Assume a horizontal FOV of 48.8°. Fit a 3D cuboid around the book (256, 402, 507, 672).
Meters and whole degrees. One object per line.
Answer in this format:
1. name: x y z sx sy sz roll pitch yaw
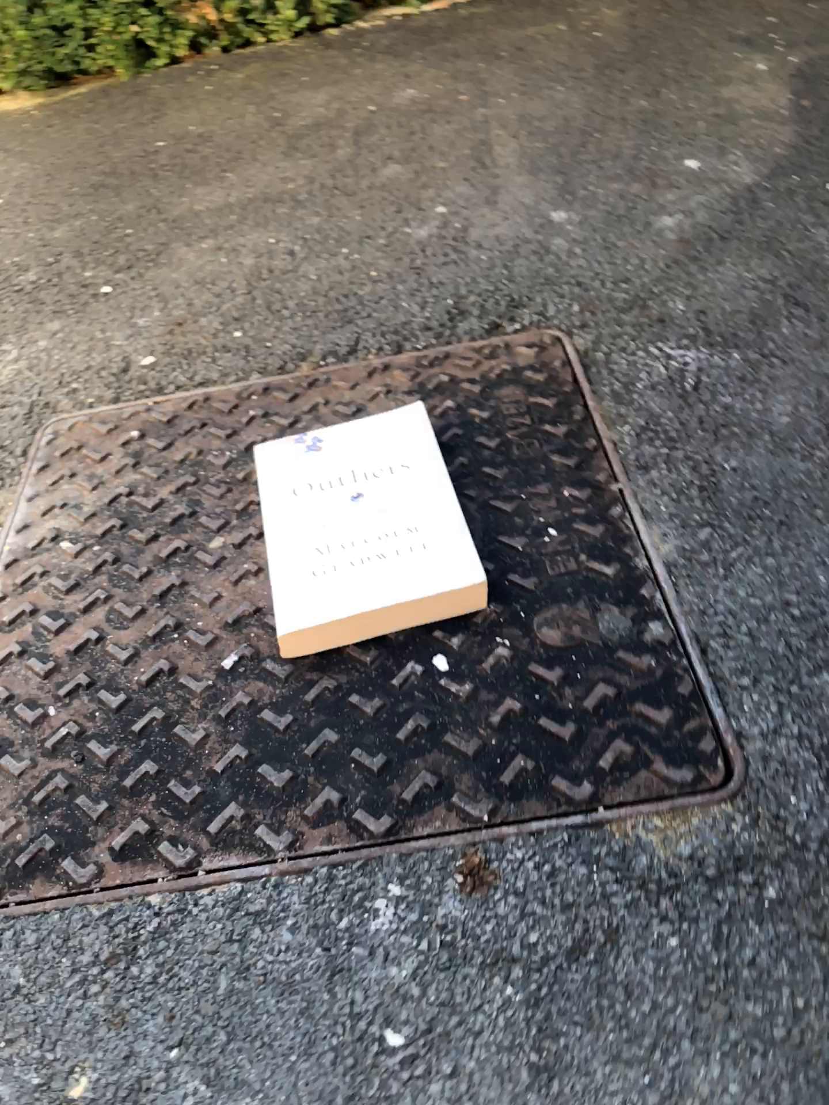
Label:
1. book: -0.032 -0.022 0.646 0.139 0.030 0.210 -14 44 -3
